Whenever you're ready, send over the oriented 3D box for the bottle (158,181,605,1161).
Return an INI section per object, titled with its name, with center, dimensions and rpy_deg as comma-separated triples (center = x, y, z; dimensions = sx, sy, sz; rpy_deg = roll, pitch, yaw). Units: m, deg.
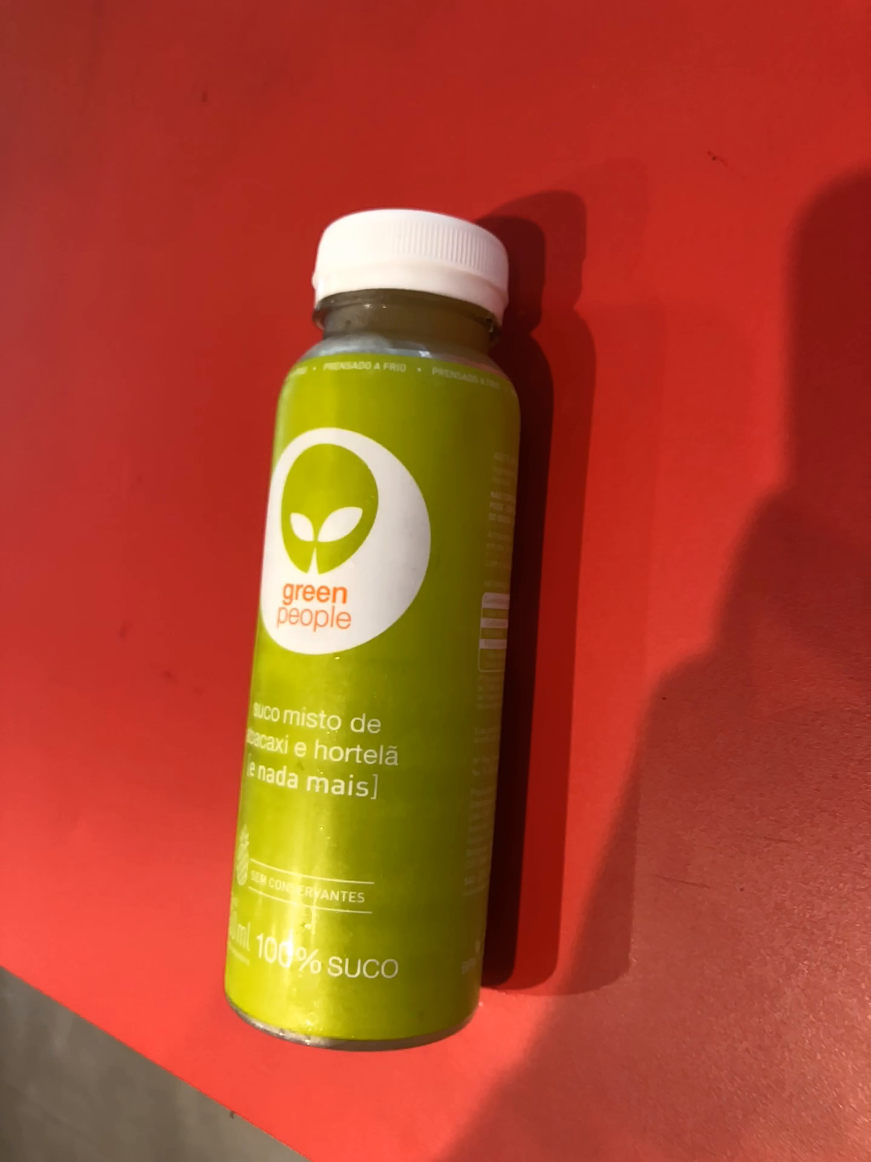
[bottle]
center = -0.011, 0.018, 0.197
dimensions = 0.060, 0.050, 0.170
rpy_deg = 7, 95, 30
